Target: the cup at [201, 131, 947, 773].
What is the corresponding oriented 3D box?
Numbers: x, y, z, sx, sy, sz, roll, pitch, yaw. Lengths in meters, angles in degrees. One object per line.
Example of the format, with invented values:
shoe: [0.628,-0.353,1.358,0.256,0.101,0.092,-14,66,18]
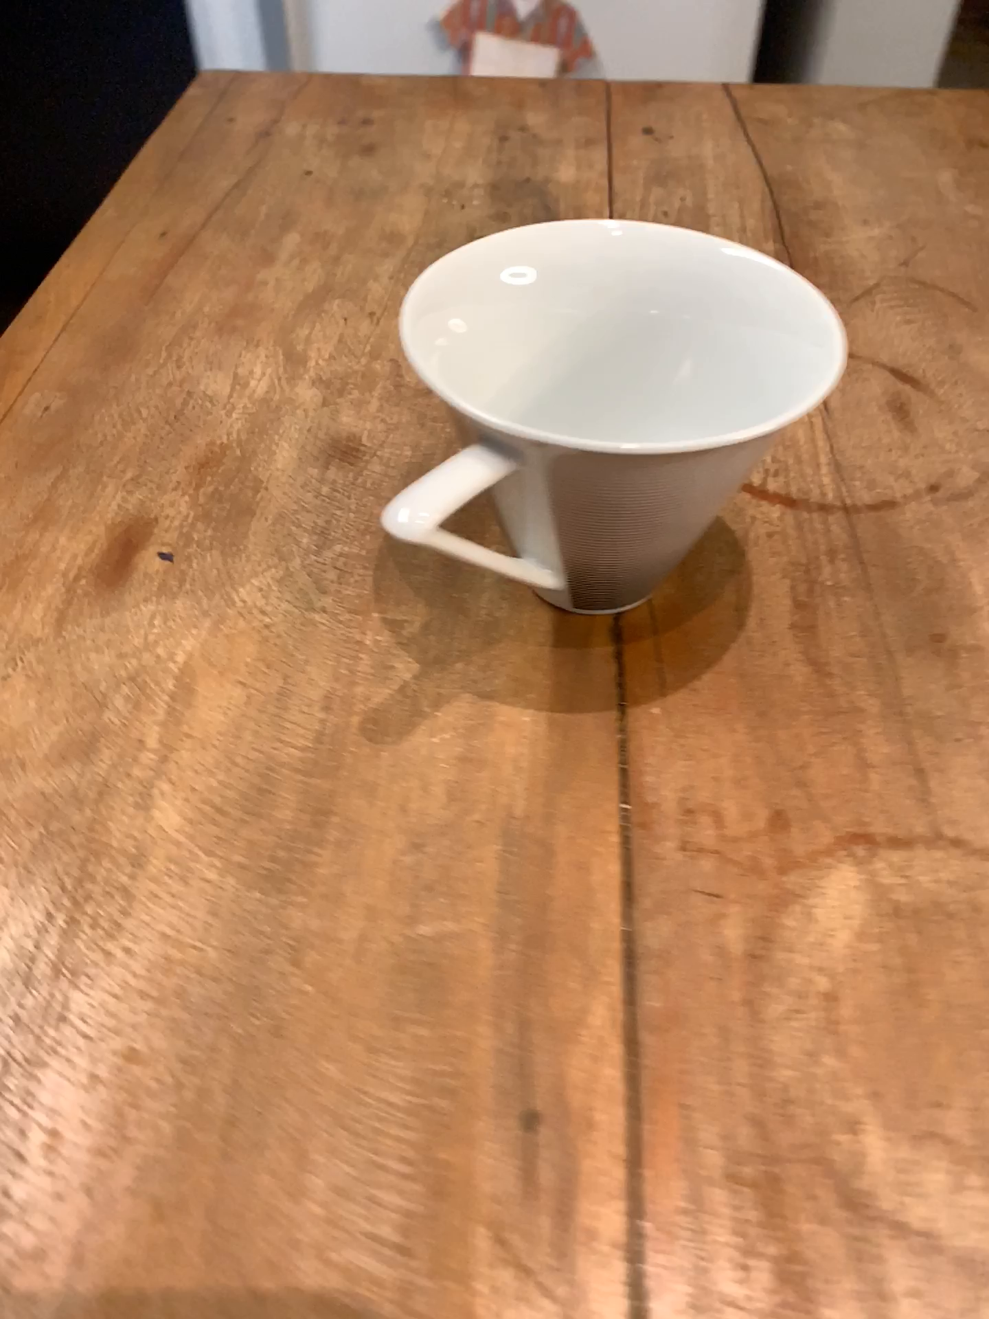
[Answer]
cup: [0.019,-0.054,0.224,0.090,0.060,0.120,35,56,27]
